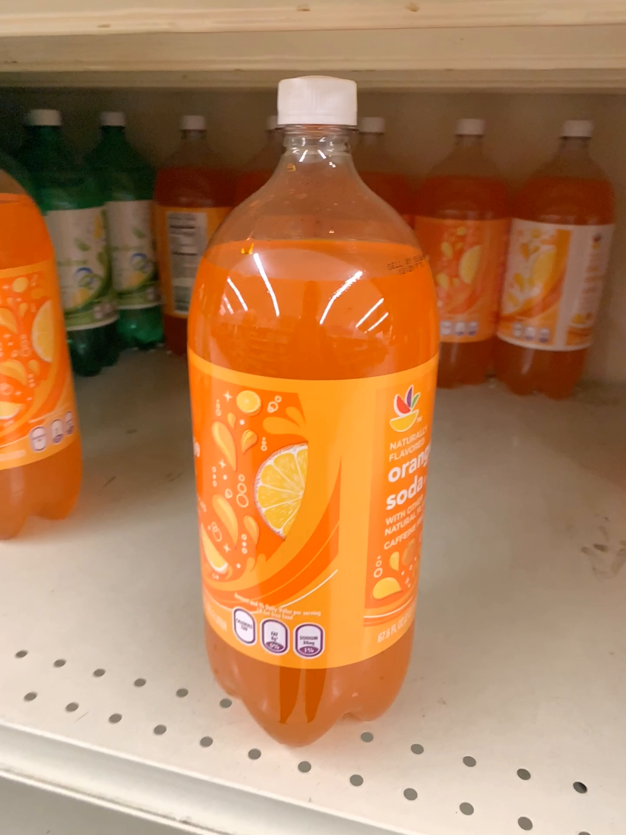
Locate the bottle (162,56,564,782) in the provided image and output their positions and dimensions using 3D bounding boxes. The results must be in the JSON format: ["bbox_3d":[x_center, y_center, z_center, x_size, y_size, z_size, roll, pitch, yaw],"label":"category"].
[{"bbox_3d":[0.005,0.006,0.295,0.120,0.288,0.111,1,24,0],"label":"bottle"}]
